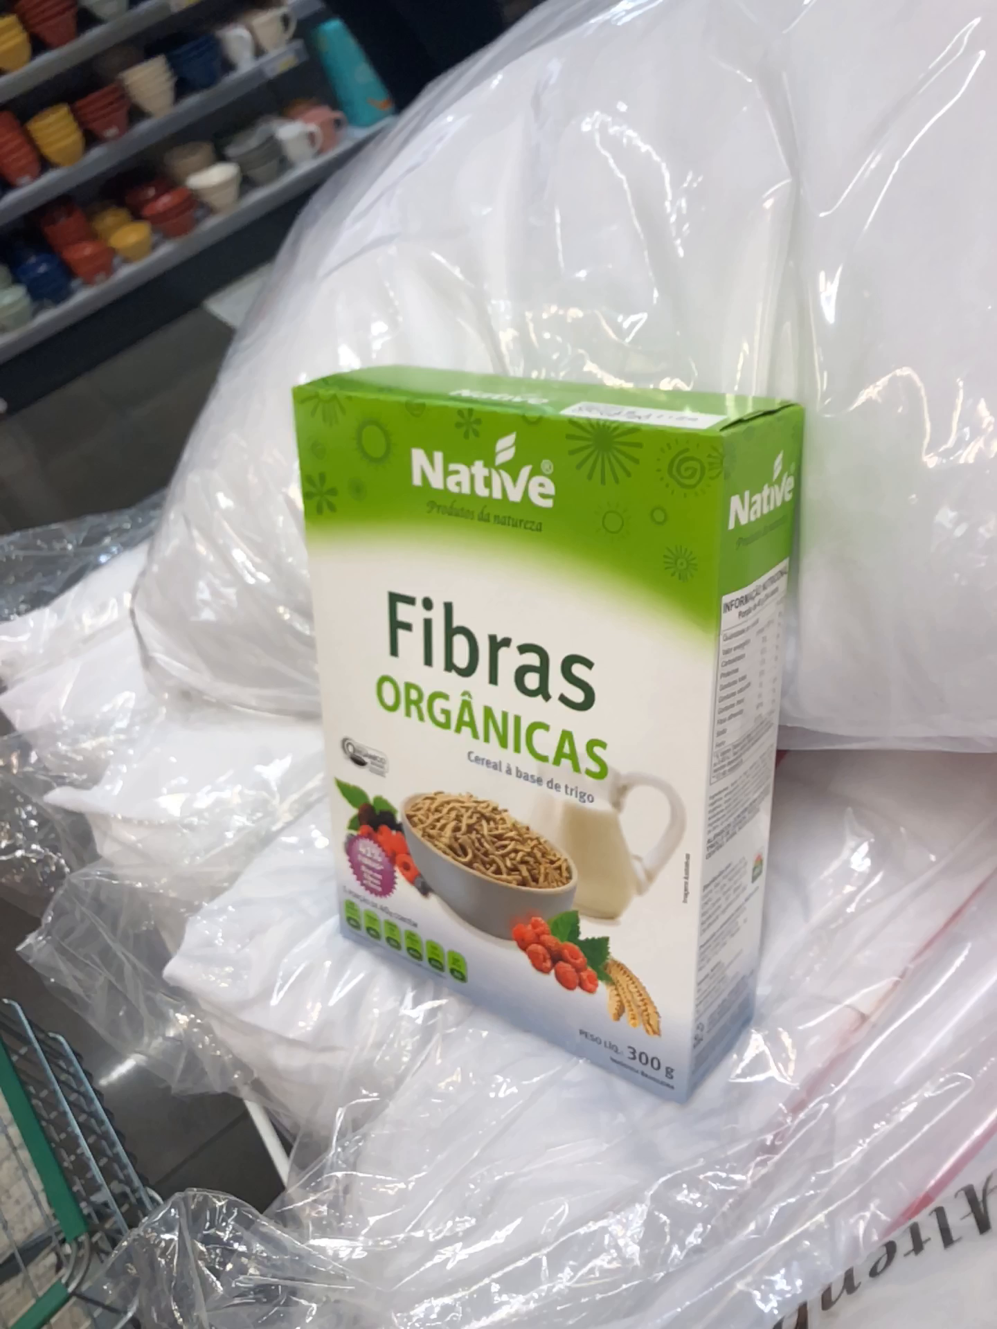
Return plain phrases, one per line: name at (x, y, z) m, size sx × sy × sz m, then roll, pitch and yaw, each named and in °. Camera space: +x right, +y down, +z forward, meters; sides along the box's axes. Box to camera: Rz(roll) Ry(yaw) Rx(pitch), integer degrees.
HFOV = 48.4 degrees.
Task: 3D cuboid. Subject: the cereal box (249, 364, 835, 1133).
cereal box at (0.008, 0.019, 0.402) m, size 0.191 × 0.229 × 0.060 m, roll 16°, pitch 28°, yaw 36°
